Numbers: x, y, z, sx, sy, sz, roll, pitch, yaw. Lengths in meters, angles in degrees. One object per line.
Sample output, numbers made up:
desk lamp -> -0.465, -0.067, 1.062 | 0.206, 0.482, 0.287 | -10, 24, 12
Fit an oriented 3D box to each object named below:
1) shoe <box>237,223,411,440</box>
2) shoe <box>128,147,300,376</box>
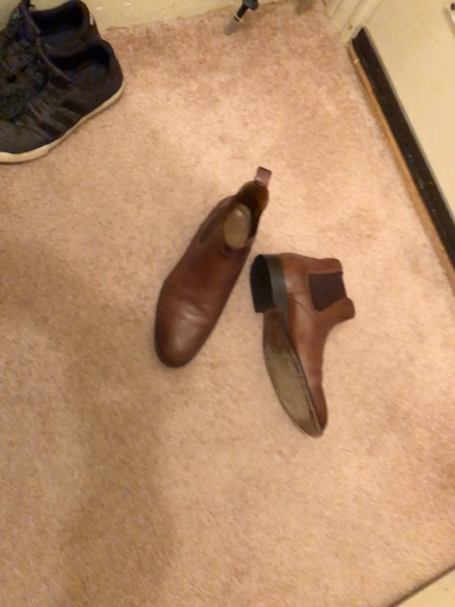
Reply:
shoe -> 0.146, 0.043, 0.805 | 0.169, 0.119, 0.296 | -13, 83, -17
shoe -> -0.025, -0.053, 0.749 | 0.109, 0.159, 0.297 | 28, 74, -7
